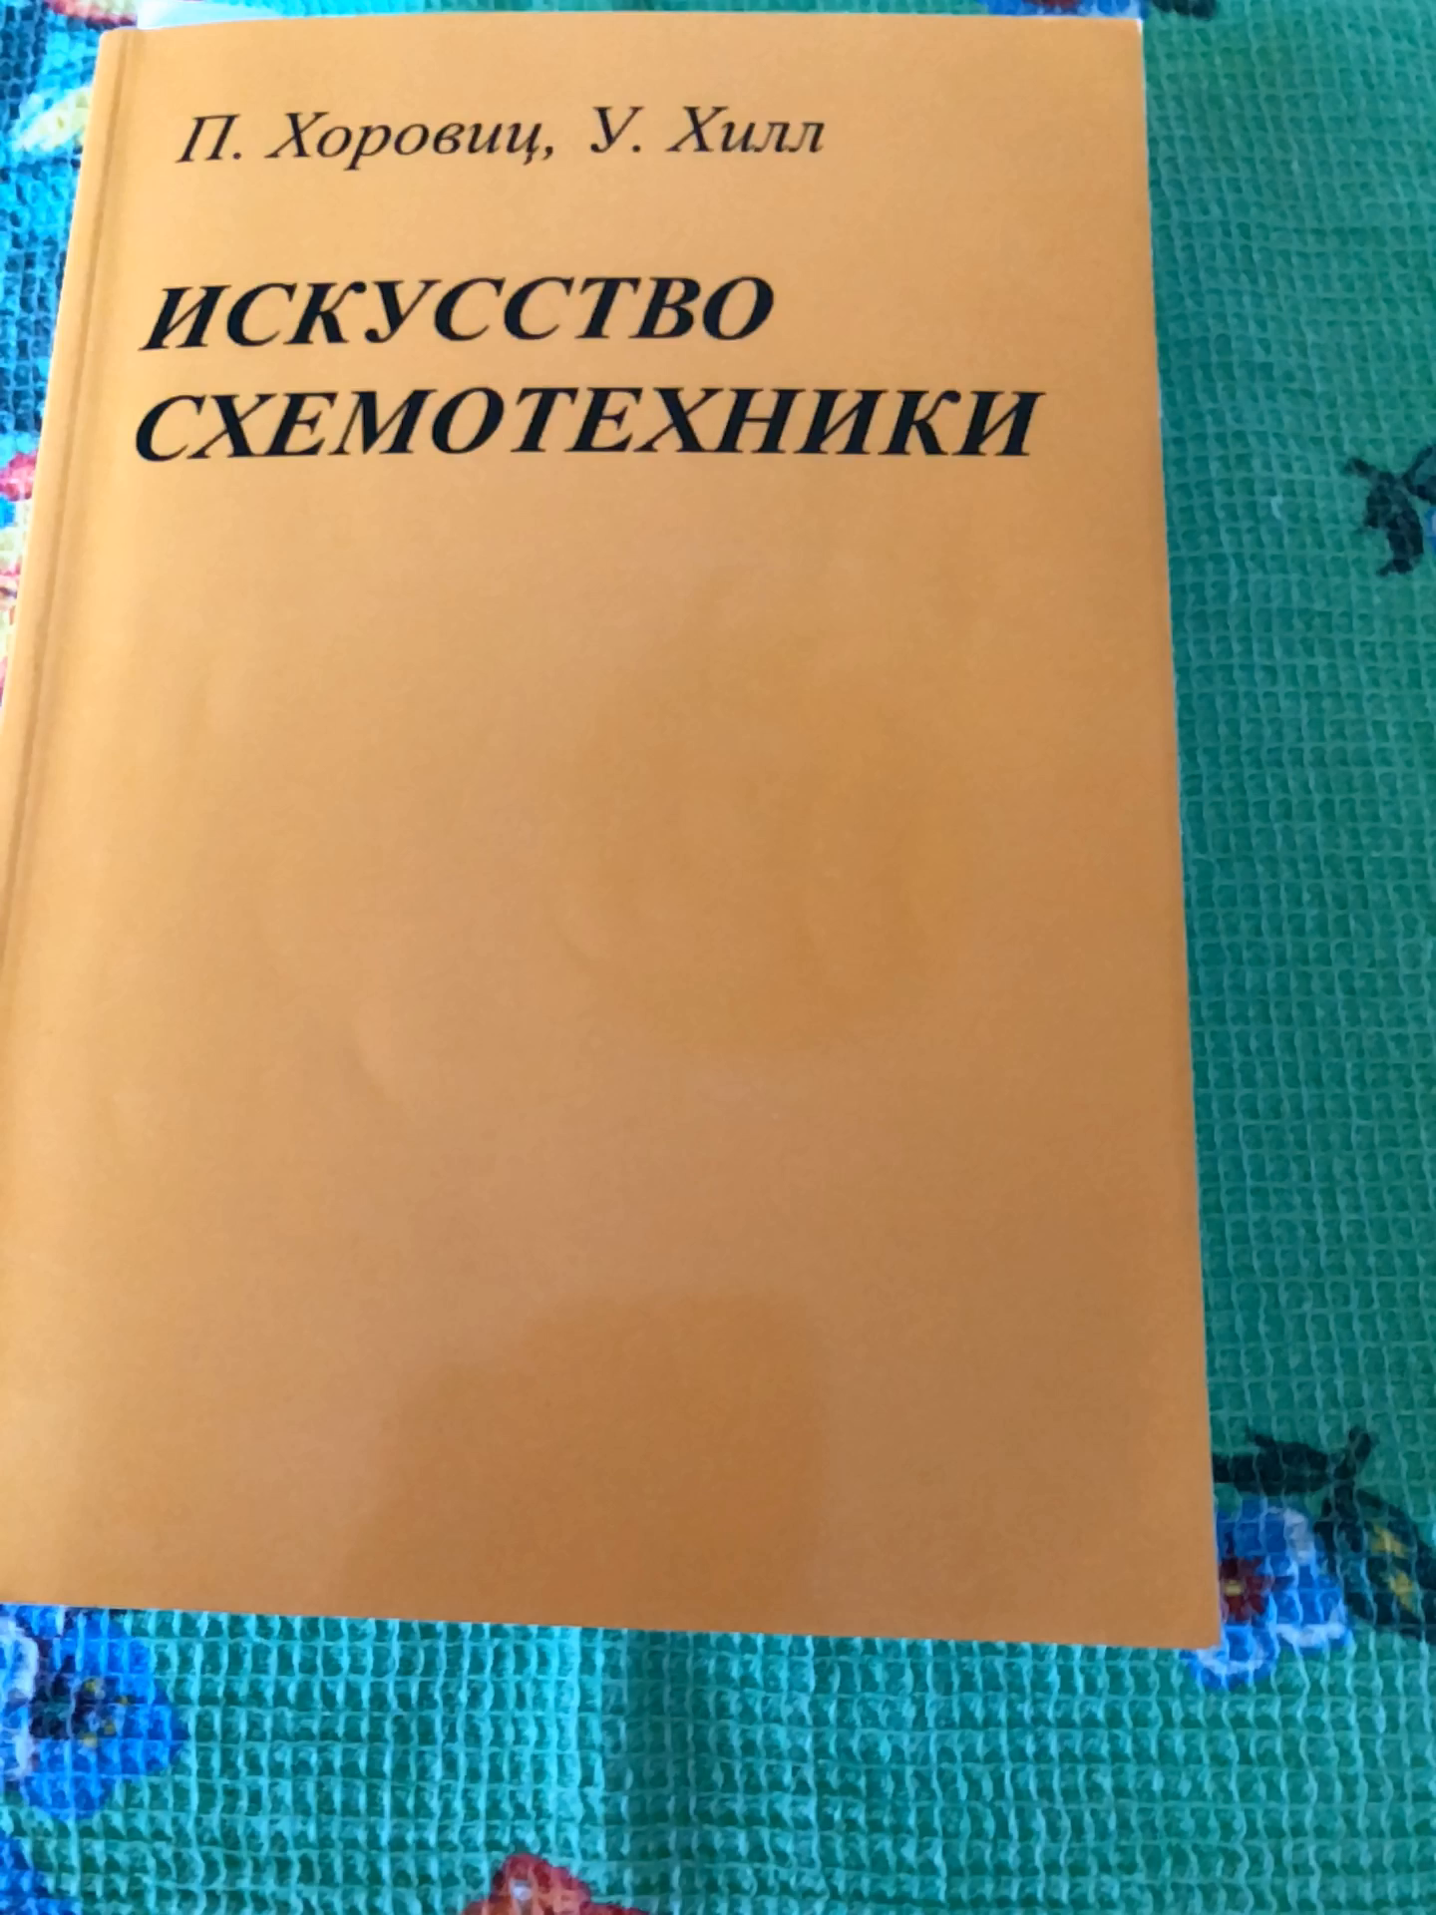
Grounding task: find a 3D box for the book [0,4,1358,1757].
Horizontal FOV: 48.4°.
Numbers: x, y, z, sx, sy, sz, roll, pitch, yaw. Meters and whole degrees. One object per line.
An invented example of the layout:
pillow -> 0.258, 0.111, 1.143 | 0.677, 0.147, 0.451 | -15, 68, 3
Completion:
book -> -0.014, -0.029, 0.247 | 0.180, 0.050, 0.261 | 1, 70, 3
